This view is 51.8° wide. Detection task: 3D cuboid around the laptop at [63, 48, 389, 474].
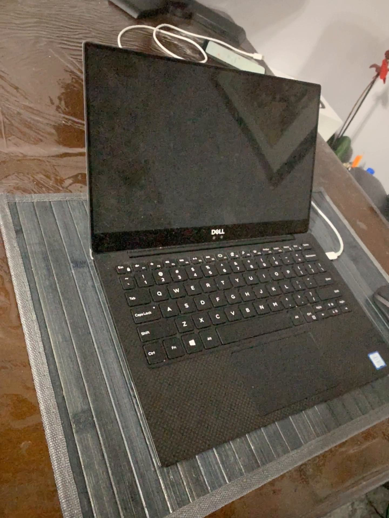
[{"bbox_3d":[0.066,-0.027,0.368,0.282,0.129,0.298,-7,57,-32],"label":"laptop"}]
